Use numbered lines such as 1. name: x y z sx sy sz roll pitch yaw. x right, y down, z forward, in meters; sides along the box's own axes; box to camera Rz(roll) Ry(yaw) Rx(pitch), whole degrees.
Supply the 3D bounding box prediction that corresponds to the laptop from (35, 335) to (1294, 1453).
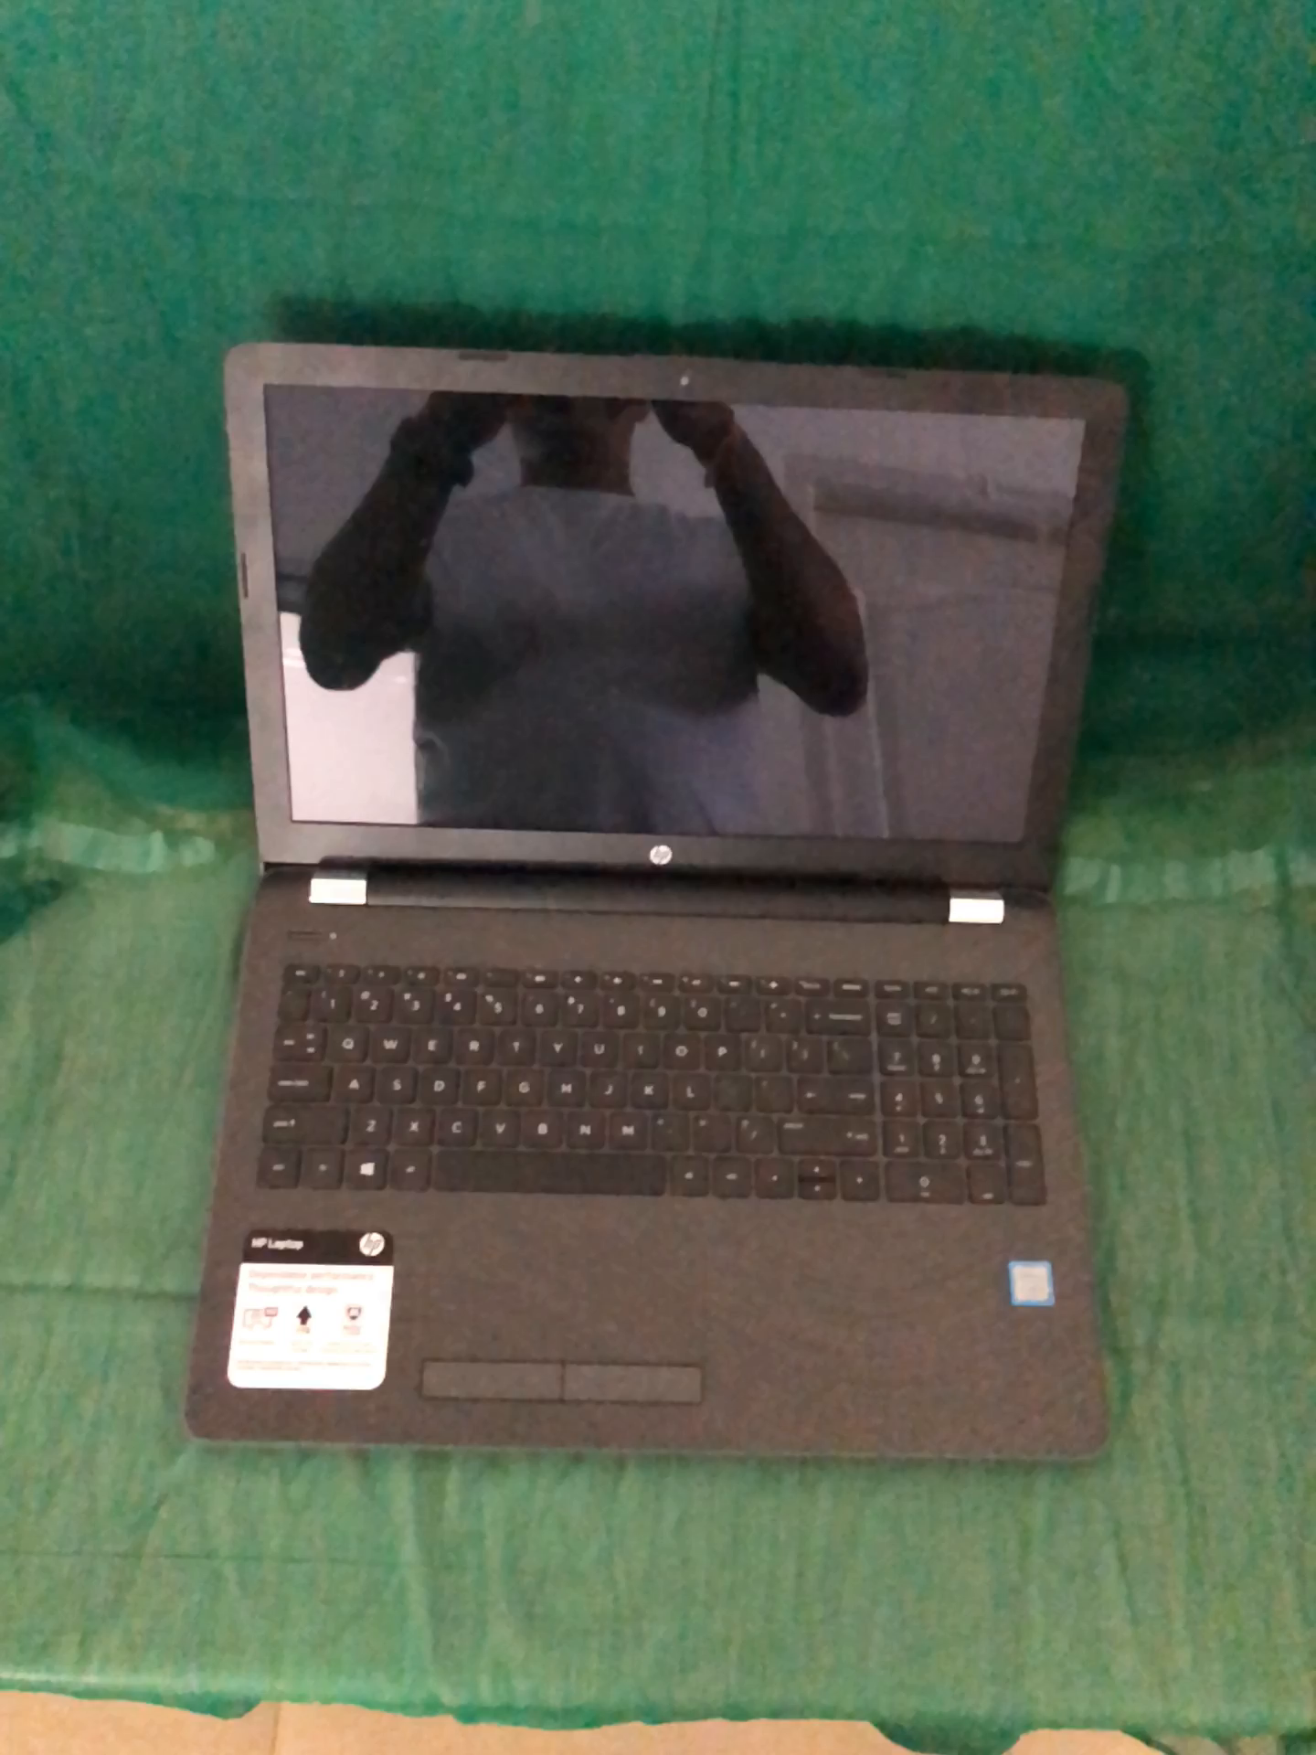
1. laptop: 0.006 0.008 0.599 0.378 0.179 0.415 2 66 -2
